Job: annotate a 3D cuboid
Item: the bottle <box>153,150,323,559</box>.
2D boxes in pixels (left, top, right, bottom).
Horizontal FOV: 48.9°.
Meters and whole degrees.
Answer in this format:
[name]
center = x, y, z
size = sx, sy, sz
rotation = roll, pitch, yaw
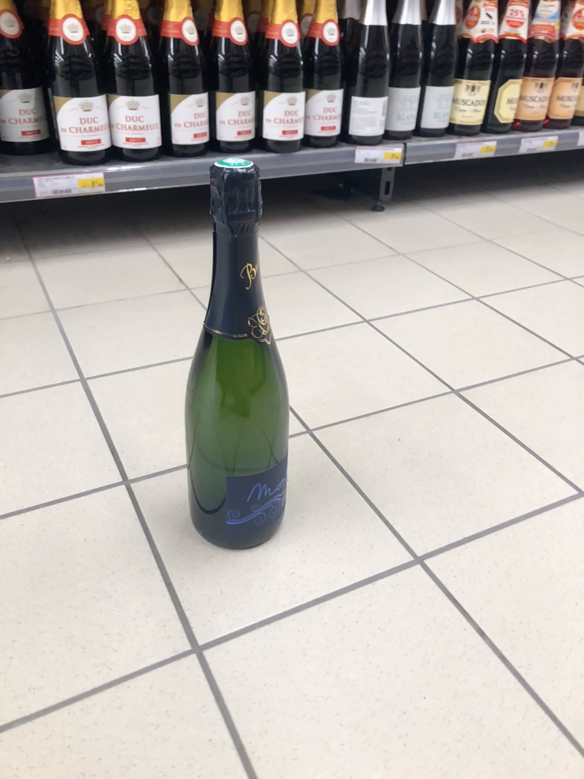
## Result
[bottle]
center = -0.039, -0.017, 0.513
size = 0.090, 0.308, 0.091
rotation = 2, 32, -1
